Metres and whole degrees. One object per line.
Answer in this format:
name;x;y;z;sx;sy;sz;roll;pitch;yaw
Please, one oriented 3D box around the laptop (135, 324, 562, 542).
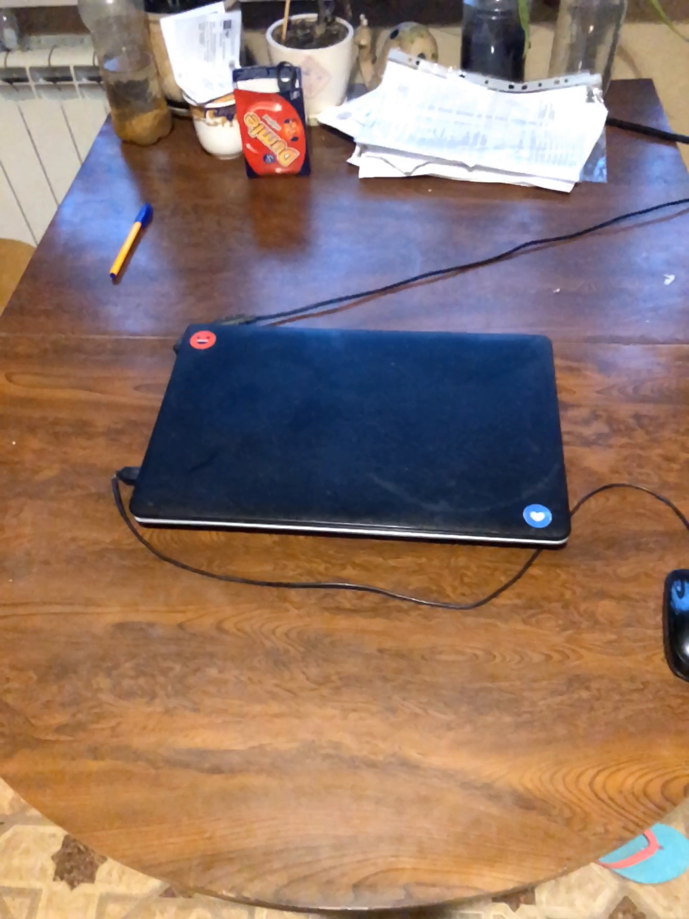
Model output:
laptop;0.012;-0.037;0.720;0.366;0.007;0.239;3;53;4
